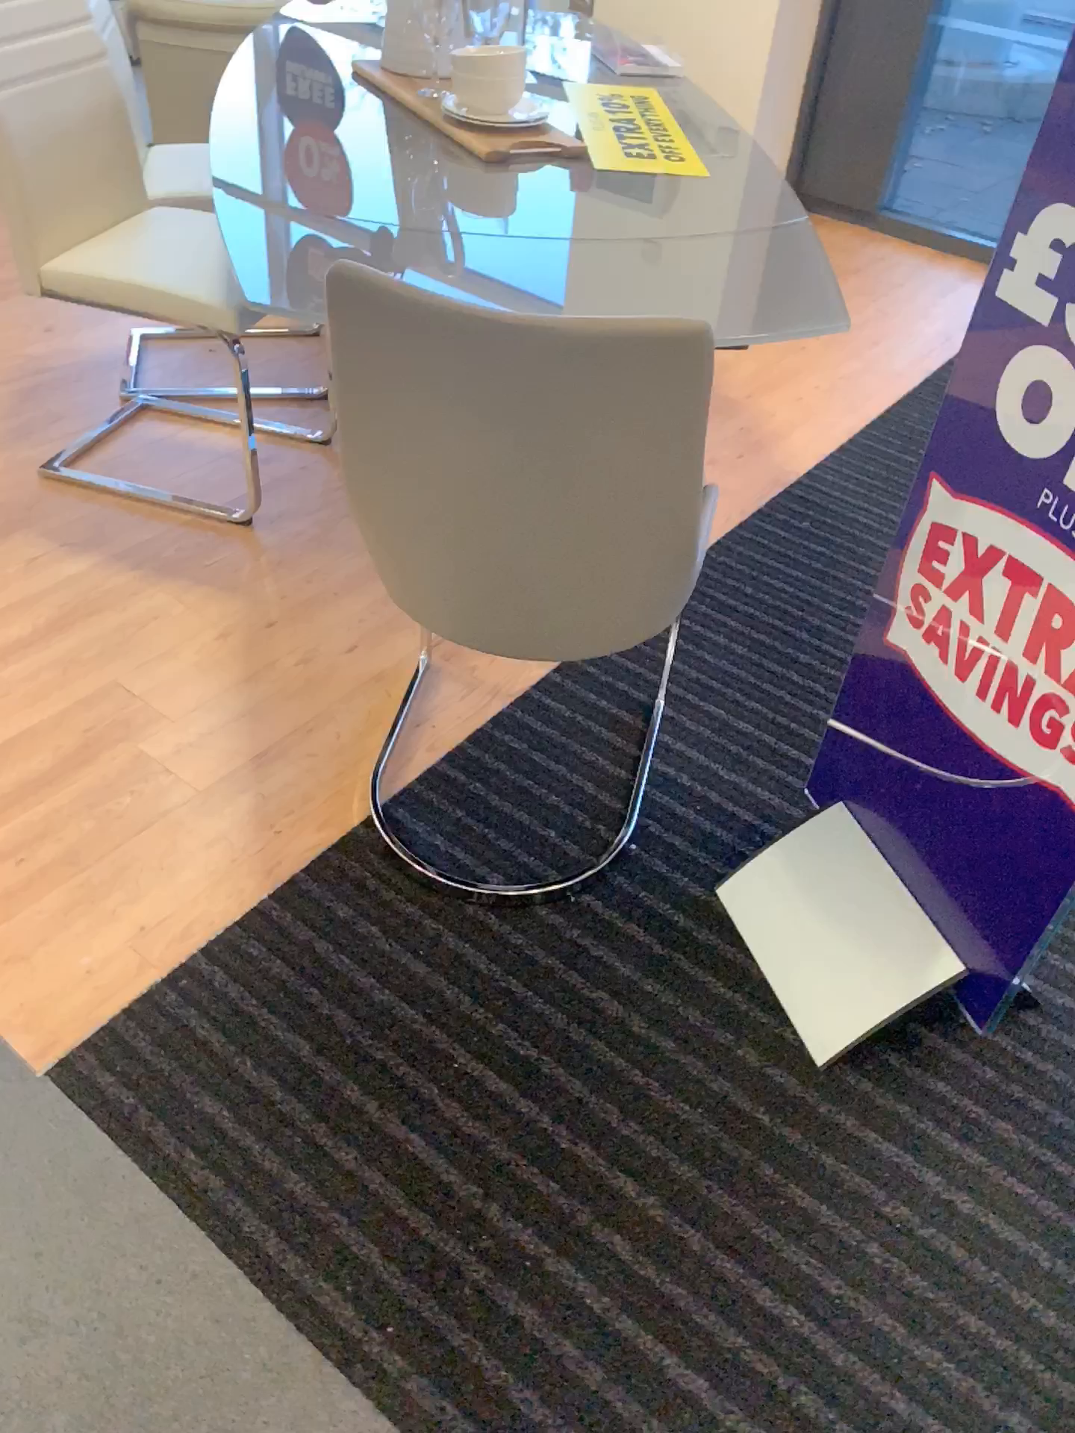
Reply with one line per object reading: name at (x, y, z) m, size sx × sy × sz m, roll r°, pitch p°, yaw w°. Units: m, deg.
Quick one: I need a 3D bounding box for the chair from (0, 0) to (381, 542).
chair at (-0.690, -0.927, 2.023) m, size 0.620 × 0.931 × 0.545 m, roll 15°, pitch 42°, yaw 10°

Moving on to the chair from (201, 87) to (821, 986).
chair at (-0.002, -0.241, 1.483) m, size 0.530 × 0.901 × 0.687 m, roll 12°, pitch 41°, yaw 6°
